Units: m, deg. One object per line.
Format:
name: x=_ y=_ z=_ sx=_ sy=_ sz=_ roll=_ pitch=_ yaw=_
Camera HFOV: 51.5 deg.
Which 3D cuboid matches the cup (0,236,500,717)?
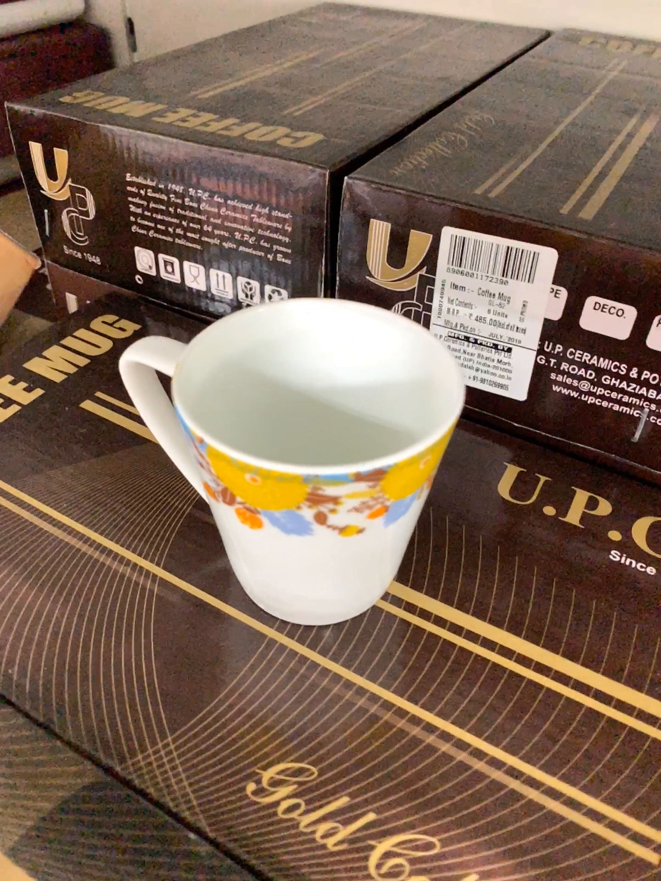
cup: x=-0.017 y=0.004 z=0.178 sx=0.090 sy=0.069 sz=0.070 roll=22 pitch=45 yaw=21
